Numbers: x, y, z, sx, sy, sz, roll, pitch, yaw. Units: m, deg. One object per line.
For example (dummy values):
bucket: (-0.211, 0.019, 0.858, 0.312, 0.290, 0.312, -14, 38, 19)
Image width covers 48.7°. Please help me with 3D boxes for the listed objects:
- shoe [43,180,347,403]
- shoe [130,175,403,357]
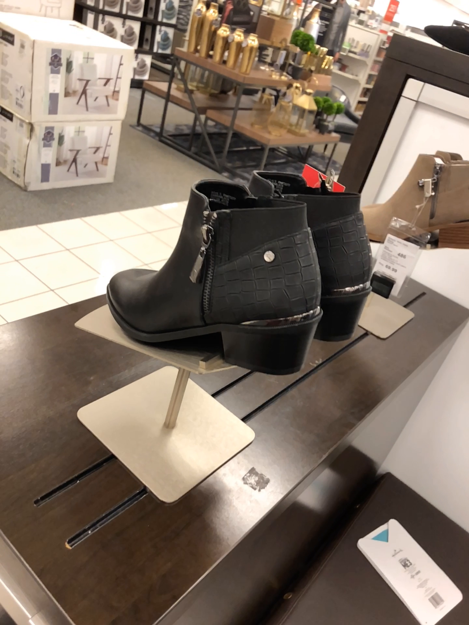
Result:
shoe: (-0.044, -0.039, 0.429, 0.243, 0.132, 0.105, 14, 22, 42)
shoe: (0.019, -0.062, 0.500, 0.243, 0.132, 0.105, 14, 22, 42)
